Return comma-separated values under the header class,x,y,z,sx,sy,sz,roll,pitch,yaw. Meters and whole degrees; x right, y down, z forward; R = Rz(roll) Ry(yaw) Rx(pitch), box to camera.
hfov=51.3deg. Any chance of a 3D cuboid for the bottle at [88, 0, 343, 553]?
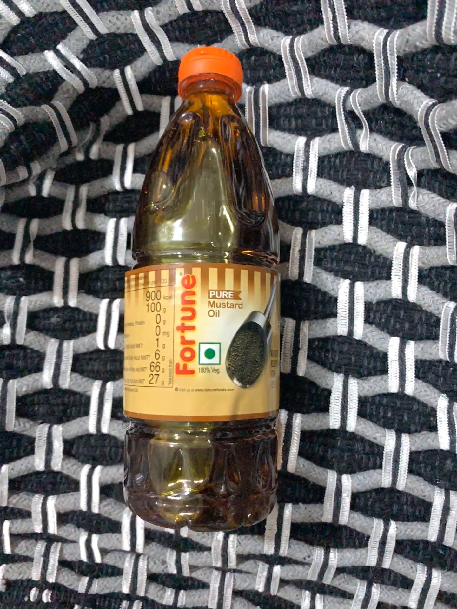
class,x,y,z,sx,sy,sz,roll,pitch,yaw
bottle,-0.006,-0.020,0.224,0.080,0.080,0.220,-13,73,55
